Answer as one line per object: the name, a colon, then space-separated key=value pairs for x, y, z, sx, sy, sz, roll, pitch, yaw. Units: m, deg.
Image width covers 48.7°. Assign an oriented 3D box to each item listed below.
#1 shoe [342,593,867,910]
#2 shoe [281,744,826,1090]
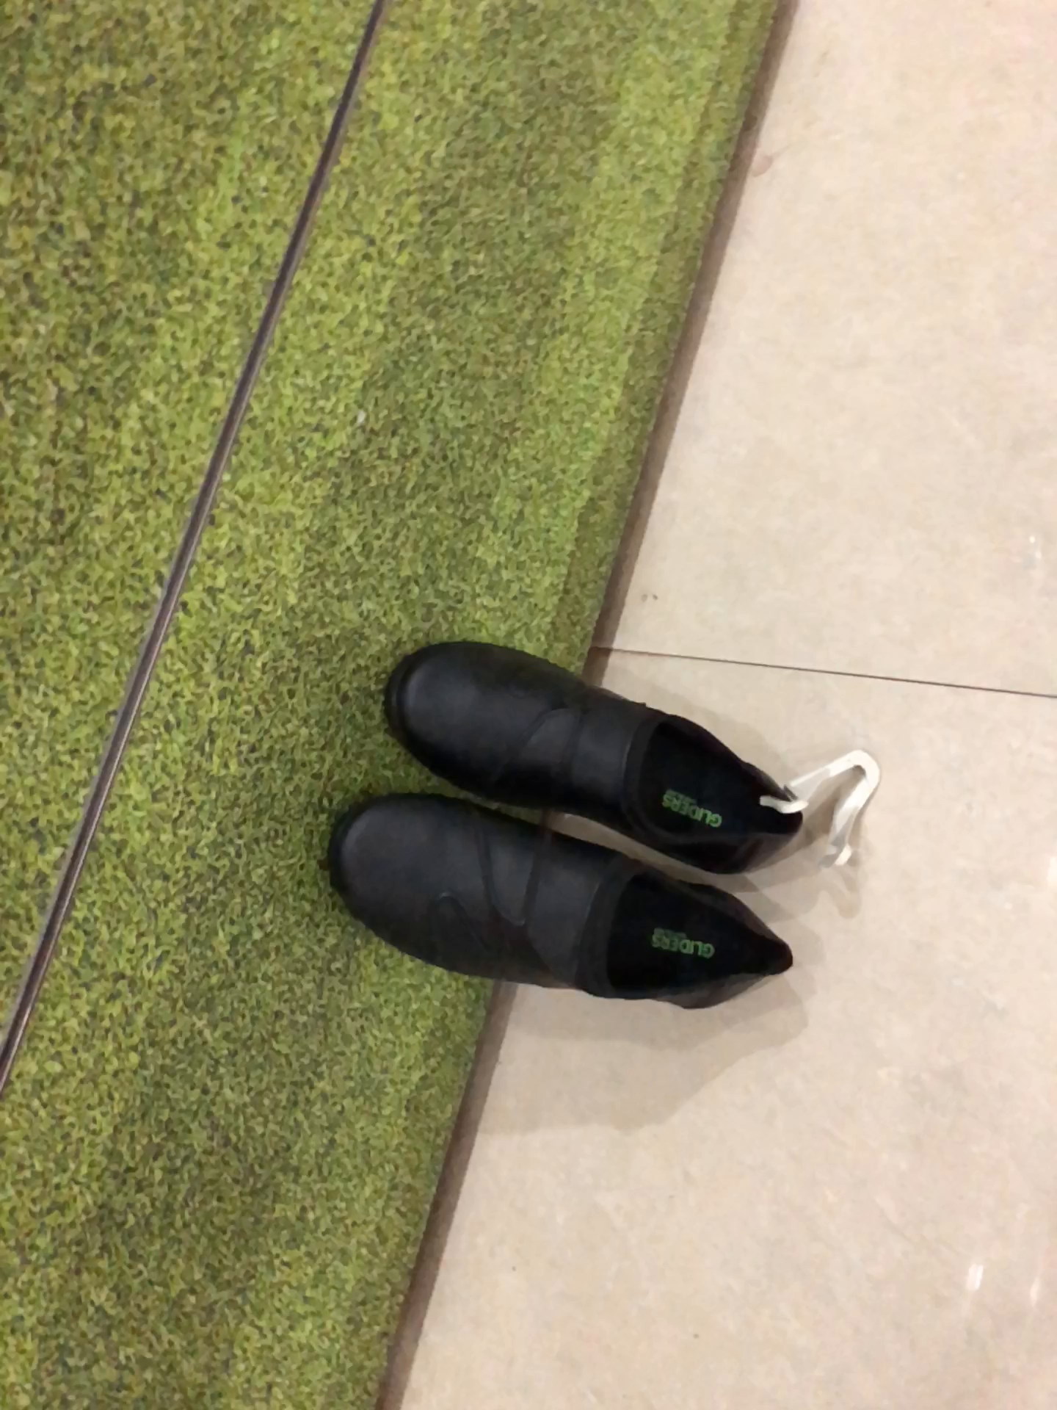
shoe: x=0.034 y=0.027 z=0.590 sx=0.236 sy=0.081 sz=0.080 roll=18 pitch=81 yaw=-3
shoe: x=0.011 y=0.102 z=0.577 sx=0.236 sy=0.081 sz=0.090 roll=18 pitch=81 yaw=-3
